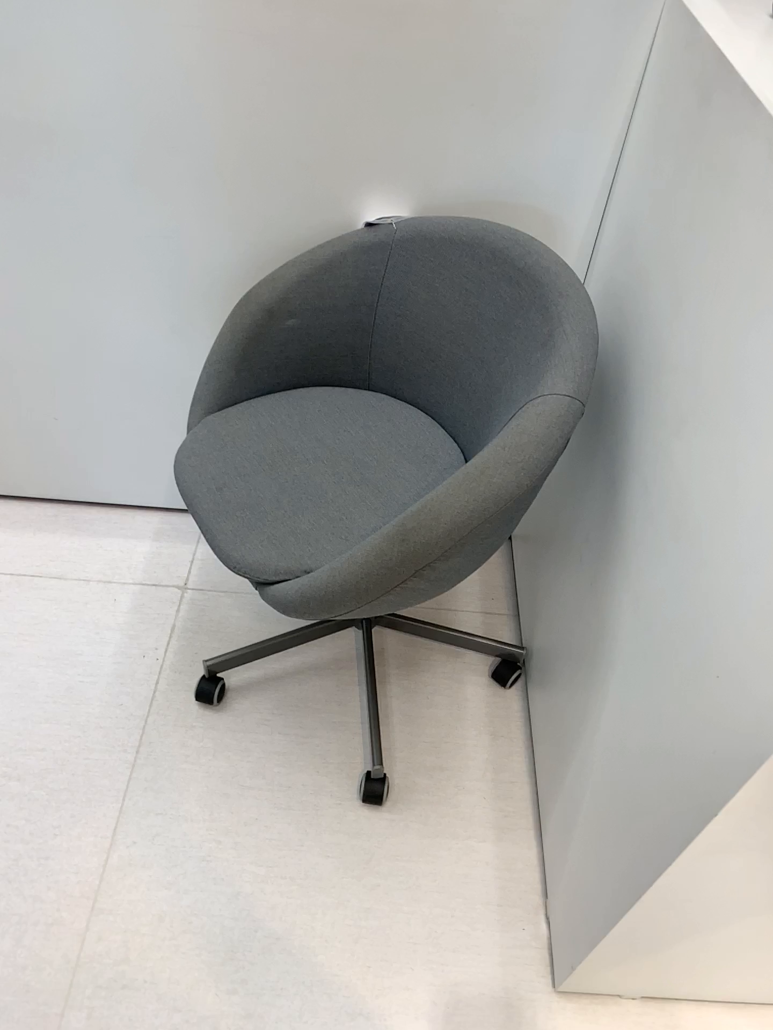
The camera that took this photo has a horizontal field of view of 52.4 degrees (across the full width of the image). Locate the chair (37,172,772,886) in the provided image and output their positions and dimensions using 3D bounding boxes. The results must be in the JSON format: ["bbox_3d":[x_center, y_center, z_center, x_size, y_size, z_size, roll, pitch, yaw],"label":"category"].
[{"bbox_3d":[0.005,-0.020,1.423,0.831,0.767,0.722,-25,54,-27],"label":"chair"}]
